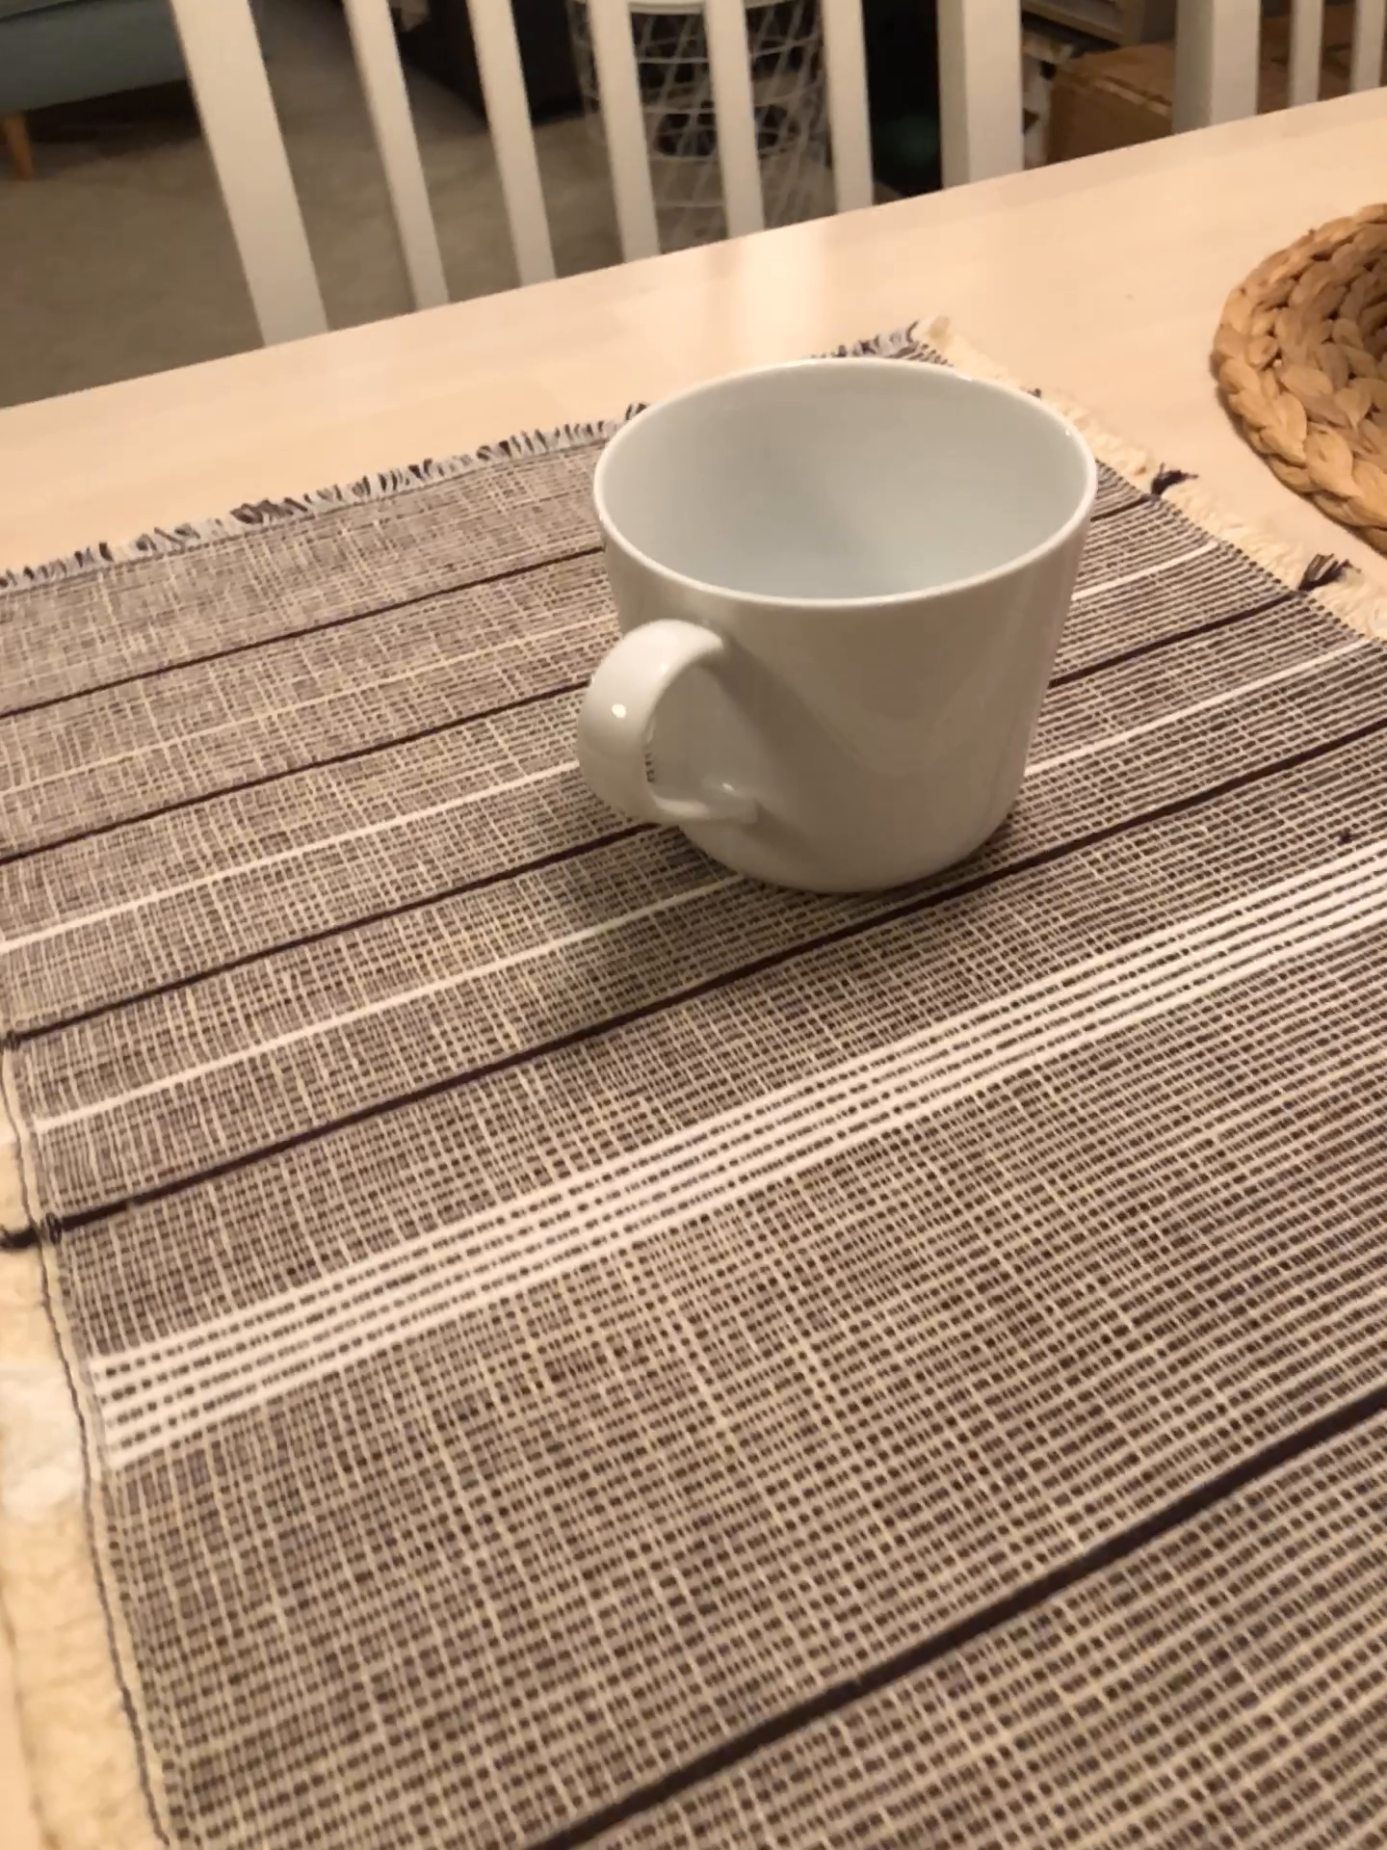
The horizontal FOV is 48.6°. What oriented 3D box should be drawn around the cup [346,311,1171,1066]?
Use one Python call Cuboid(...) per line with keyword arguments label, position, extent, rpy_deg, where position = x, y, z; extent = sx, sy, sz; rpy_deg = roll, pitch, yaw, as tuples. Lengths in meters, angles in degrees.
Cuboid(label="cup", position=(0.019, -0.059, 0.322), extent=(0.100, 0.070, 0.141), rpy_deg=(24, 50, 26))
